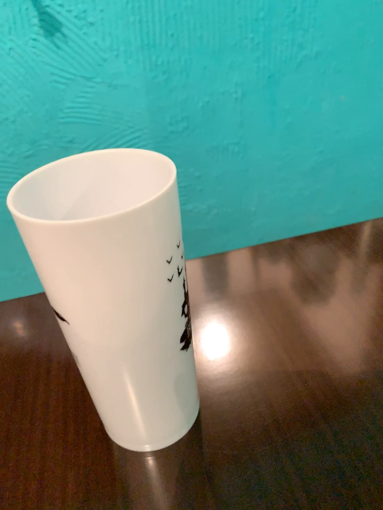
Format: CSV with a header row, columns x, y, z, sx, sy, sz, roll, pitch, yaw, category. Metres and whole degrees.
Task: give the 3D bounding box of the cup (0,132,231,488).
x,y,z,sx,sy,sz,roll,pitch,yaw,category
-0.028,0.031,0.192,0.070,0.149,0.070,-5,35,3,cup
